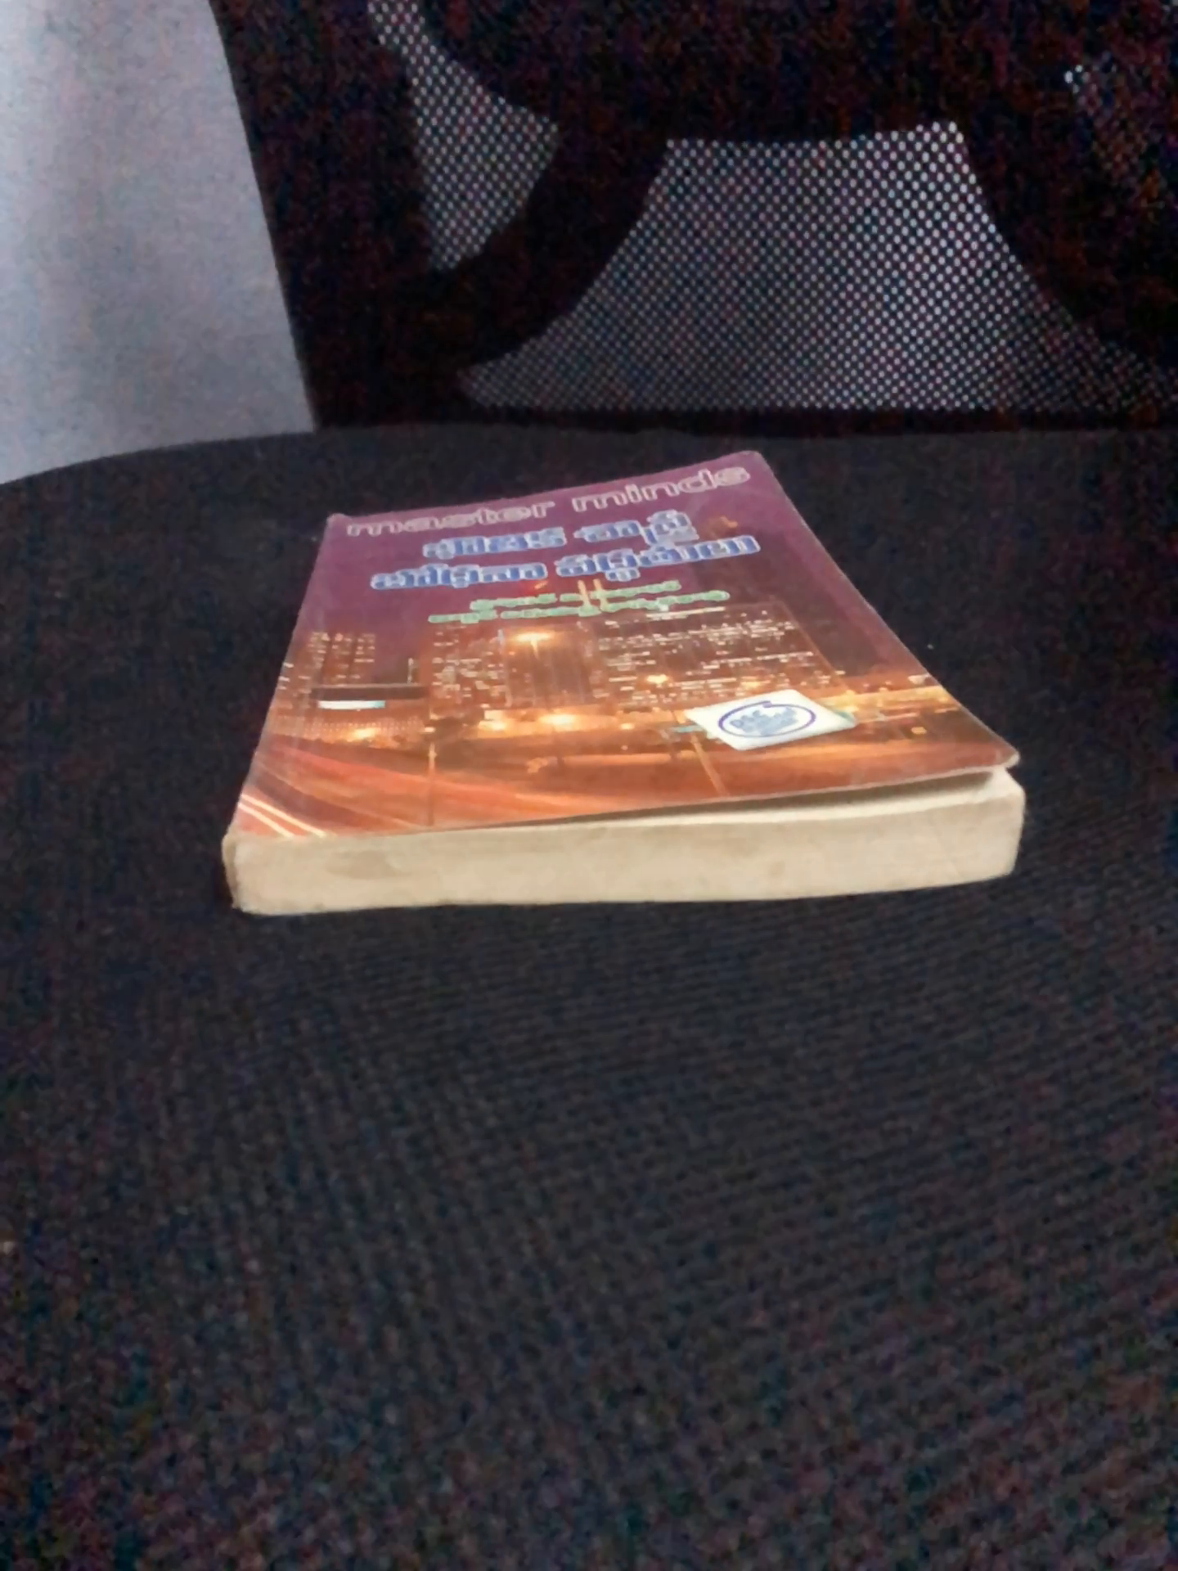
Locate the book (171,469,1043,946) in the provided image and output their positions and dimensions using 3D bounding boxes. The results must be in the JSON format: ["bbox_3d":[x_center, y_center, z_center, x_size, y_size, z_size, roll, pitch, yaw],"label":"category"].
[{"bbox_3d":[-0.006,-0.037,0.319,0.145,0.027,0.220,-3,27,-6],"label":"book"}]
